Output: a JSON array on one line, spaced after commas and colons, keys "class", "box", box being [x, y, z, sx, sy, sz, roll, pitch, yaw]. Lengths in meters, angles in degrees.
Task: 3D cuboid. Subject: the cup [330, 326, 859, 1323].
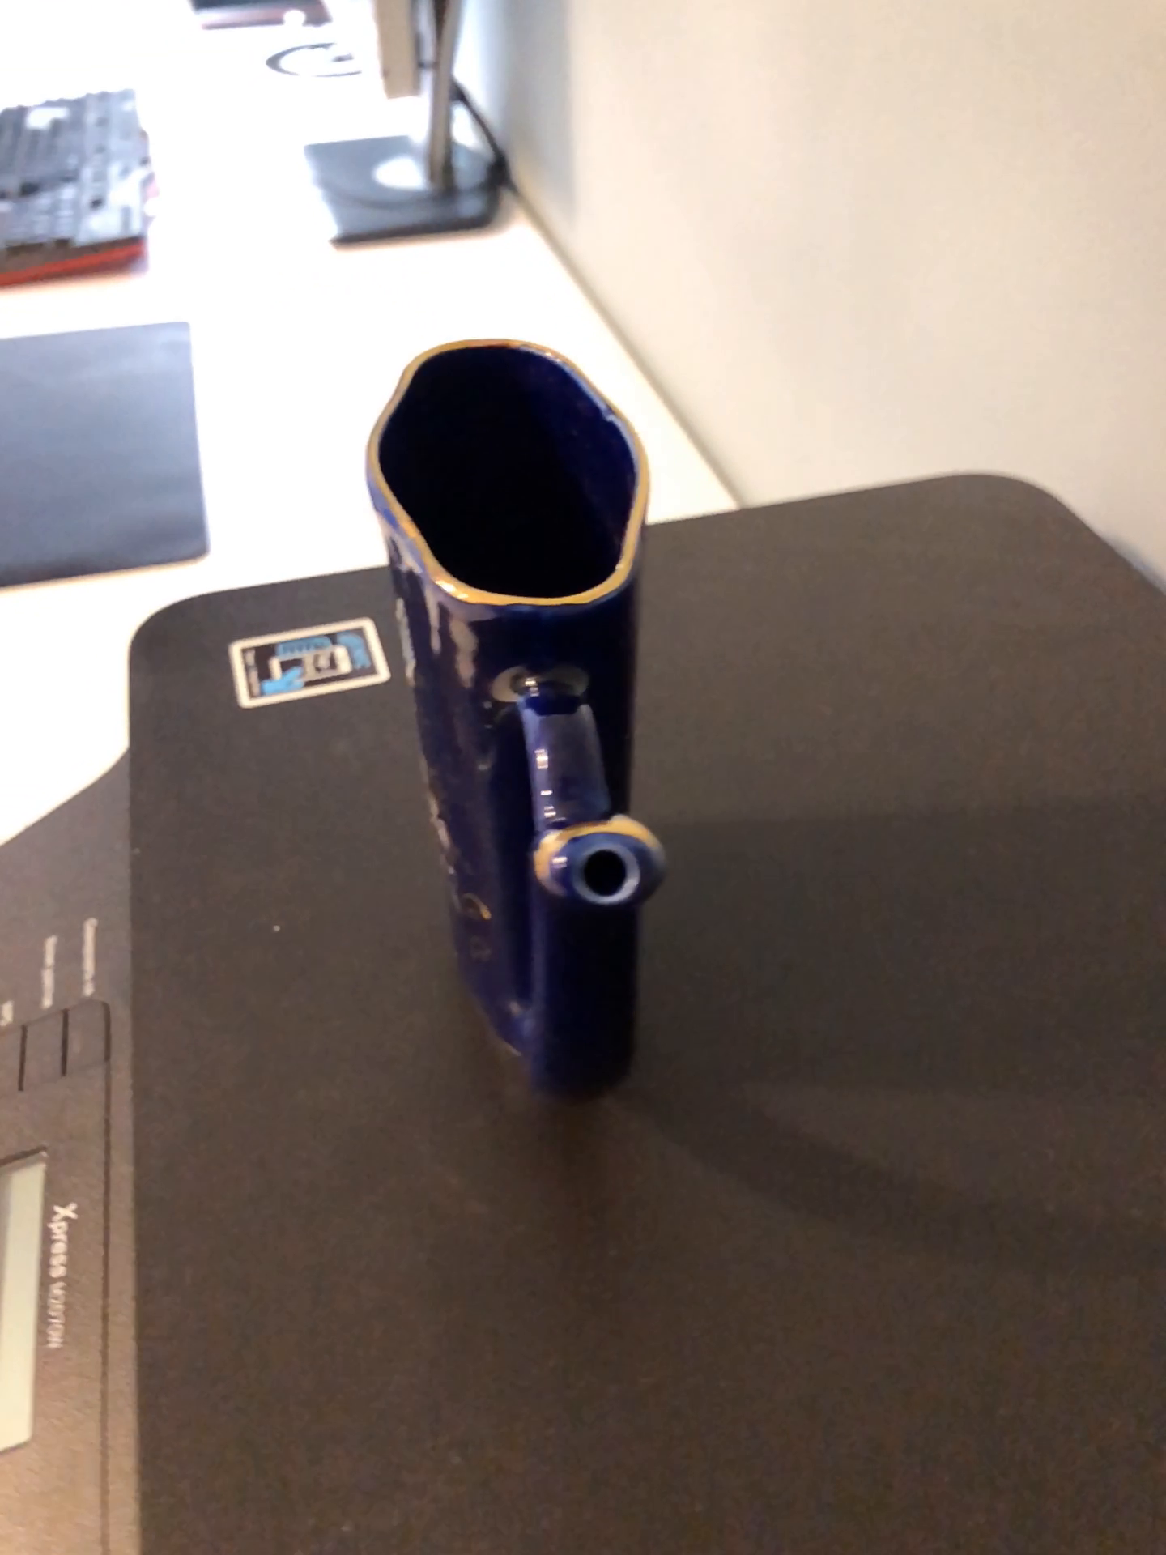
[{"class": "cup", "box": [-0.006, 0.003, 0.229, 0.050, 0.109, 0.131, -10, 43, -9]}]
